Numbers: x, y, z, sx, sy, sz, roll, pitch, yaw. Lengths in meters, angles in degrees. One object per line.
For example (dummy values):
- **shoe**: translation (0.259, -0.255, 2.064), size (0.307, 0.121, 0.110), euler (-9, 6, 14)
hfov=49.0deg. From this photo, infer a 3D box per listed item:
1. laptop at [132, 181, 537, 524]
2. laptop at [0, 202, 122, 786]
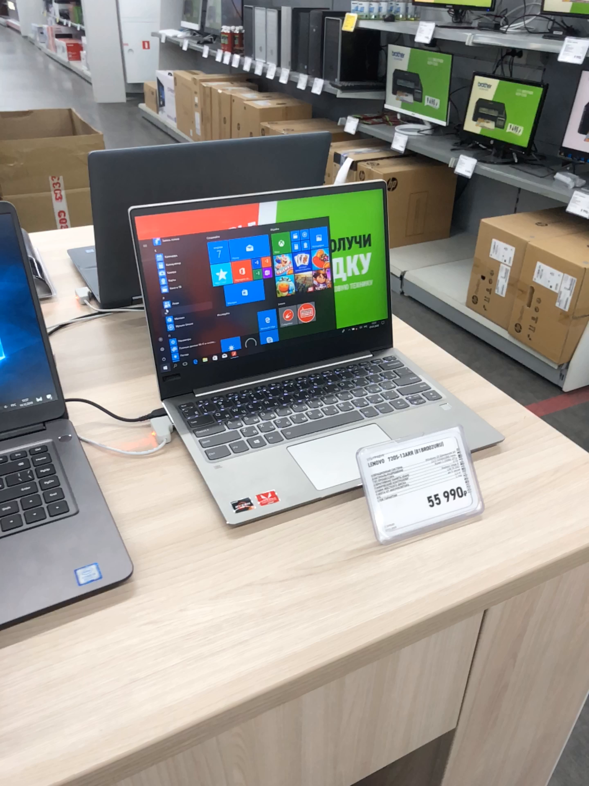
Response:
- **laptop**: translation (0.021, -0.068, 0.646), size (0.285, 0.187, 0.263), euler (-14, 36, -22)
- **laptop**: translation (-0.359, 0.017, 0.491), size (0.345, 0.188, 0.341), euler (-15, 37, -24)
